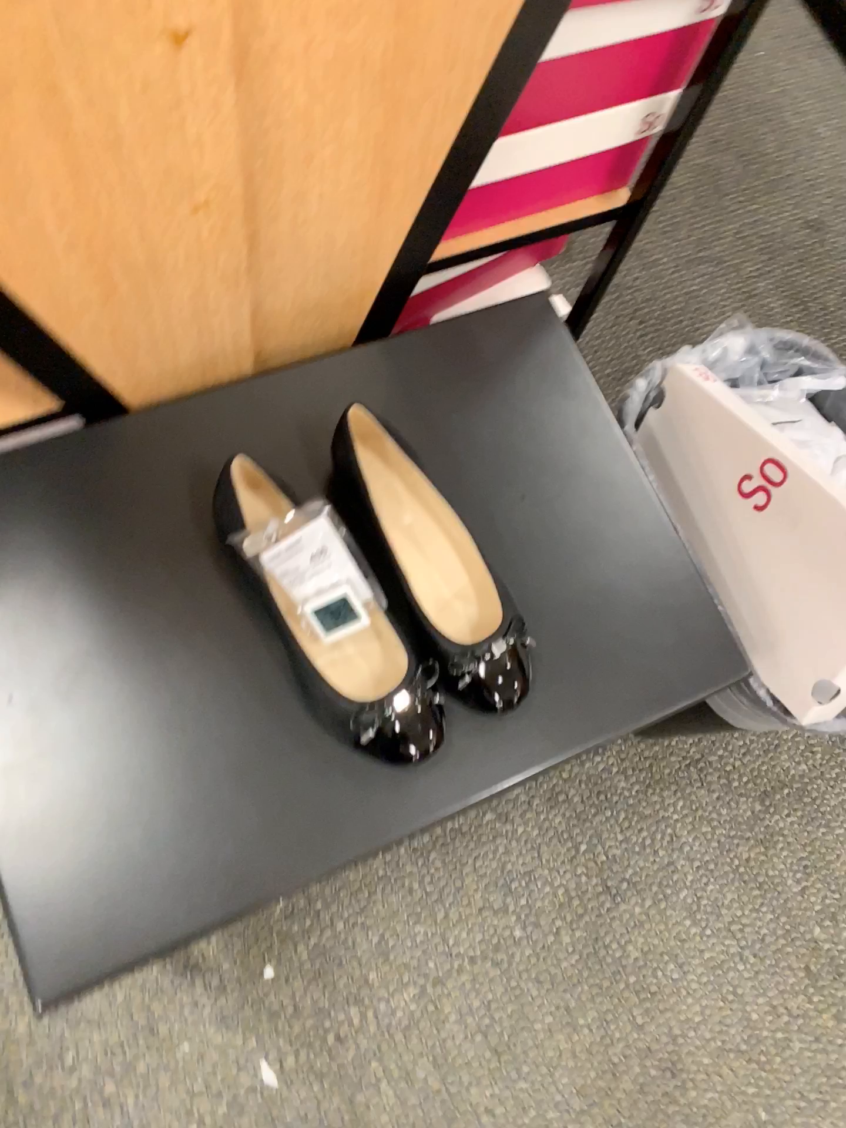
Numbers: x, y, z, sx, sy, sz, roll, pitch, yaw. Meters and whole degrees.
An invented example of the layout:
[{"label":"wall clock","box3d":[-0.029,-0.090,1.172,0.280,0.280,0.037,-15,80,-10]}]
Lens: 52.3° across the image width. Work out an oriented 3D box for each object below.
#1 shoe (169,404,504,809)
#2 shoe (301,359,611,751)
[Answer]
[{"label":"shoe","box3d":[-0.064,0.032,0.592,0.090,0.100,0.250,-31,79,-18]},{"label":"shoe","box3d":[0.013,-0.005,0.619,0.090,0.100,0.250,-27,78,-17]}]
